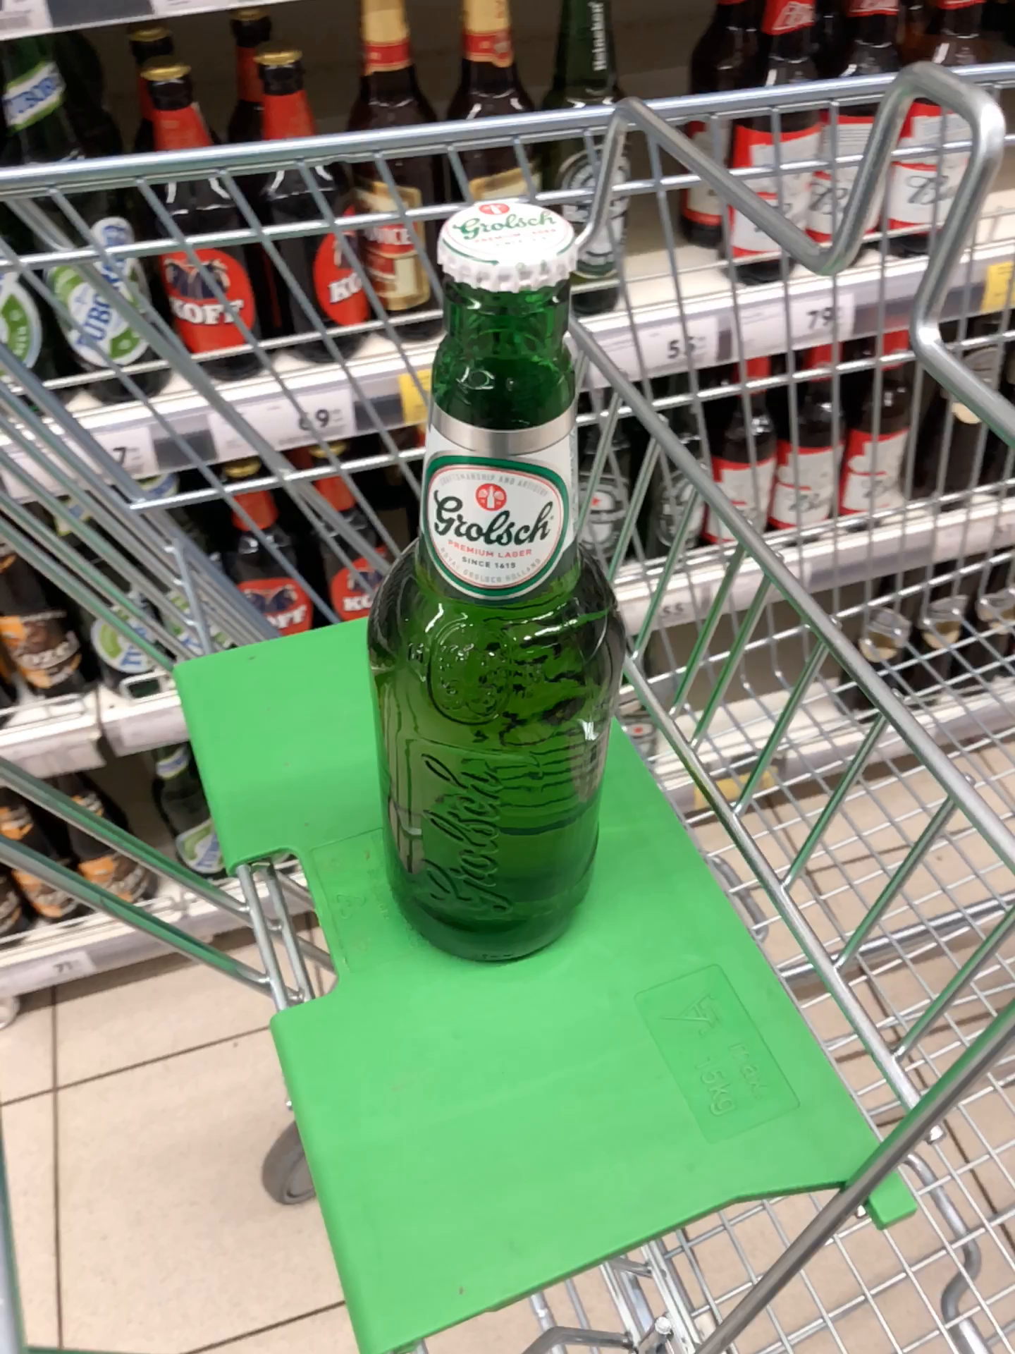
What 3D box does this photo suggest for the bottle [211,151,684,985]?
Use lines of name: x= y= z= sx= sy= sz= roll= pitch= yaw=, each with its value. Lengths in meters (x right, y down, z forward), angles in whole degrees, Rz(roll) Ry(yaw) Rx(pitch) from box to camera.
bottle: x=-0.004 y=-0.011 z=0.300 sx=0.080 sy=0.219 sz=0.080 roll=-1 pitch=47 yaw=1
